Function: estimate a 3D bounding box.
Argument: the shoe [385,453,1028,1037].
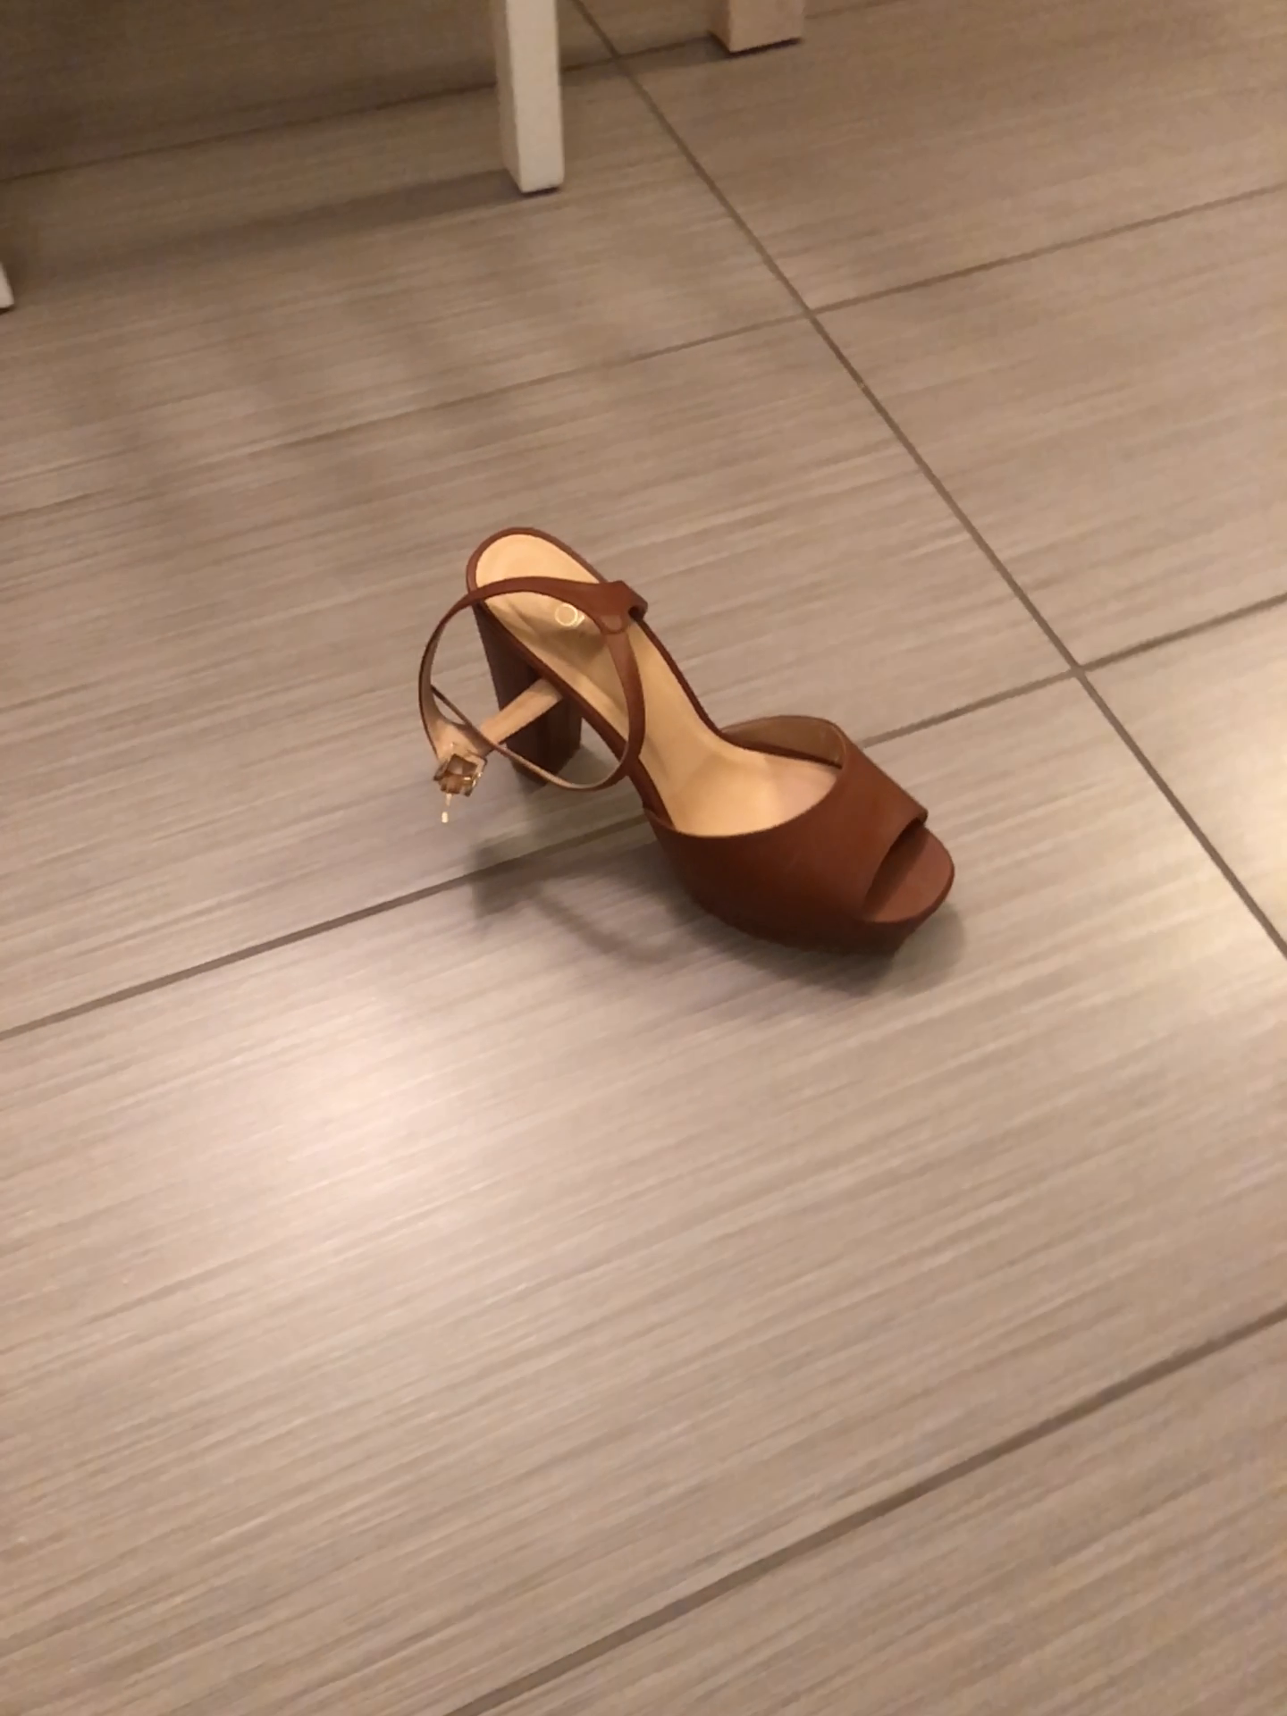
[{"bbox_3d":[0.020,-0.051,0.606,0.240,0.090,0.110,35,63,13],"label":"shoe"}]
